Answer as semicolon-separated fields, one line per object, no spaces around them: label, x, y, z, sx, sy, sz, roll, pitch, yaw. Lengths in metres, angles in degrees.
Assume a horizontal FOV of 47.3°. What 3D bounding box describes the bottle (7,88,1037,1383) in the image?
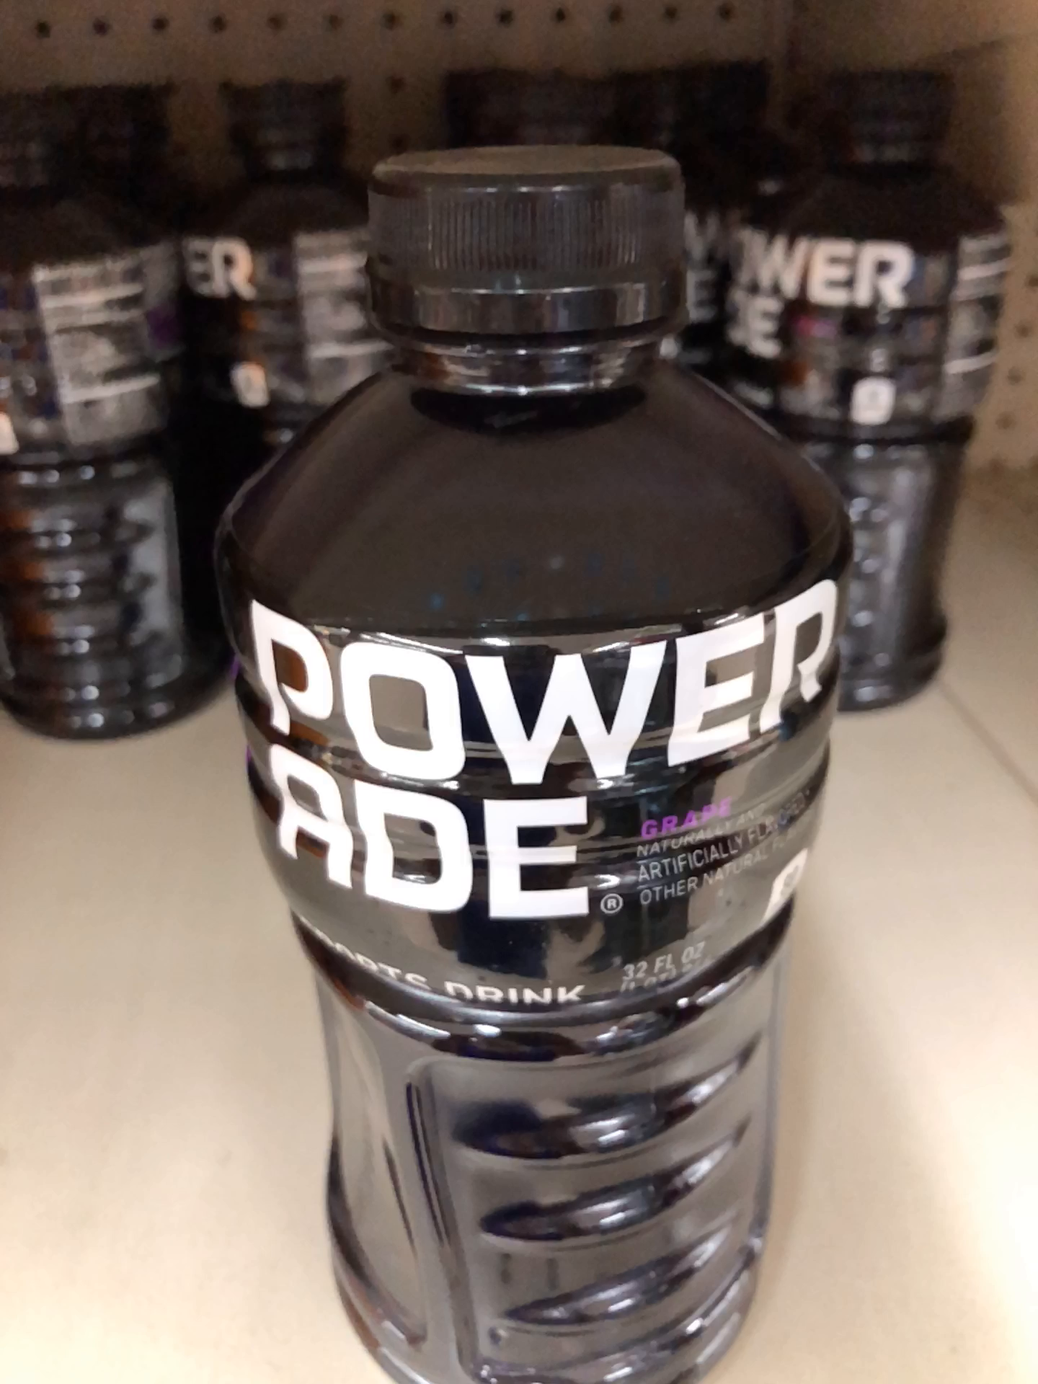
bottle;0.004;0.024;0.190;0.098;0.209;0.090;0;30;0
